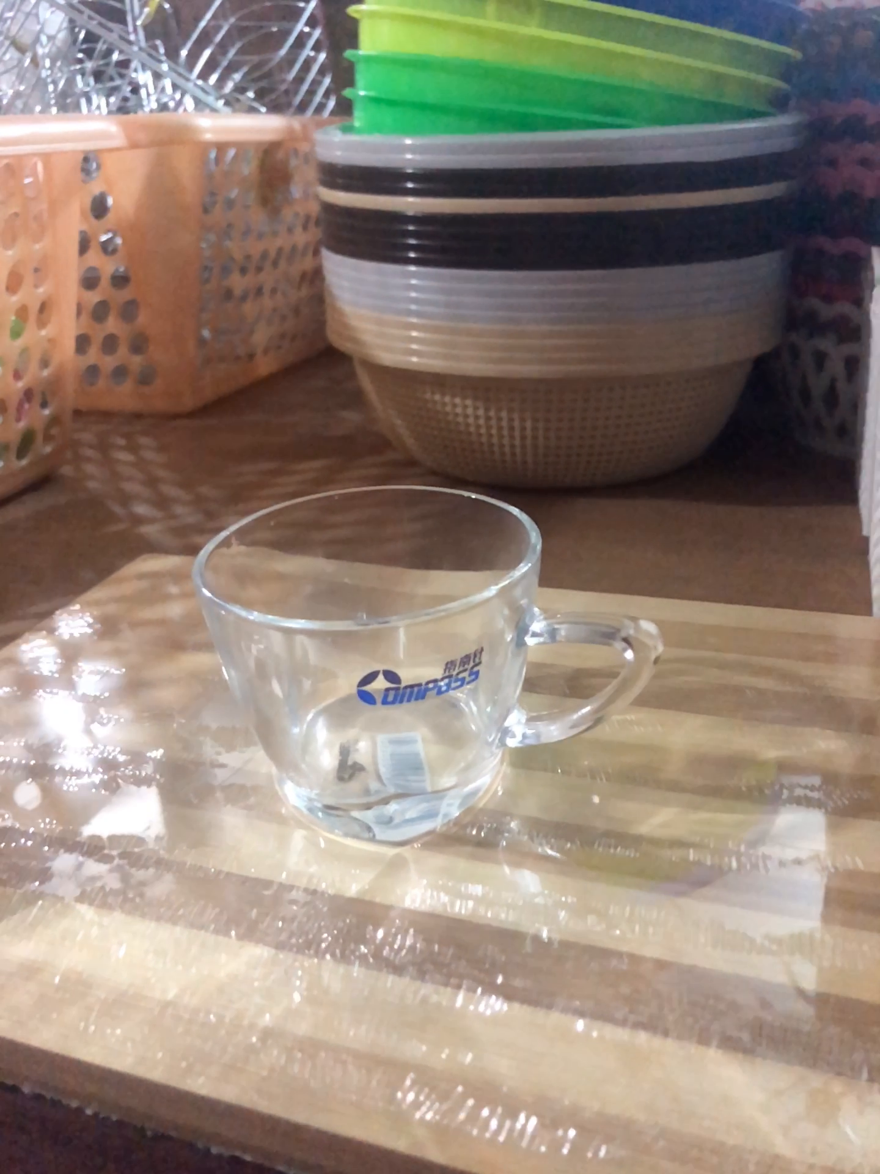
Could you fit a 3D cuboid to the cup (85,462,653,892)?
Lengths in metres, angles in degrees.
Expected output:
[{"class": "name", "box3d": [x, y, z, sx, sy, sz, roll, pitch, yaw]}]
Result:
[{"class": "cup", "box3d": [-0.012, 0.014, 0.236, 0.110, 0.060, 0.070, 8, 28, 23]}]
